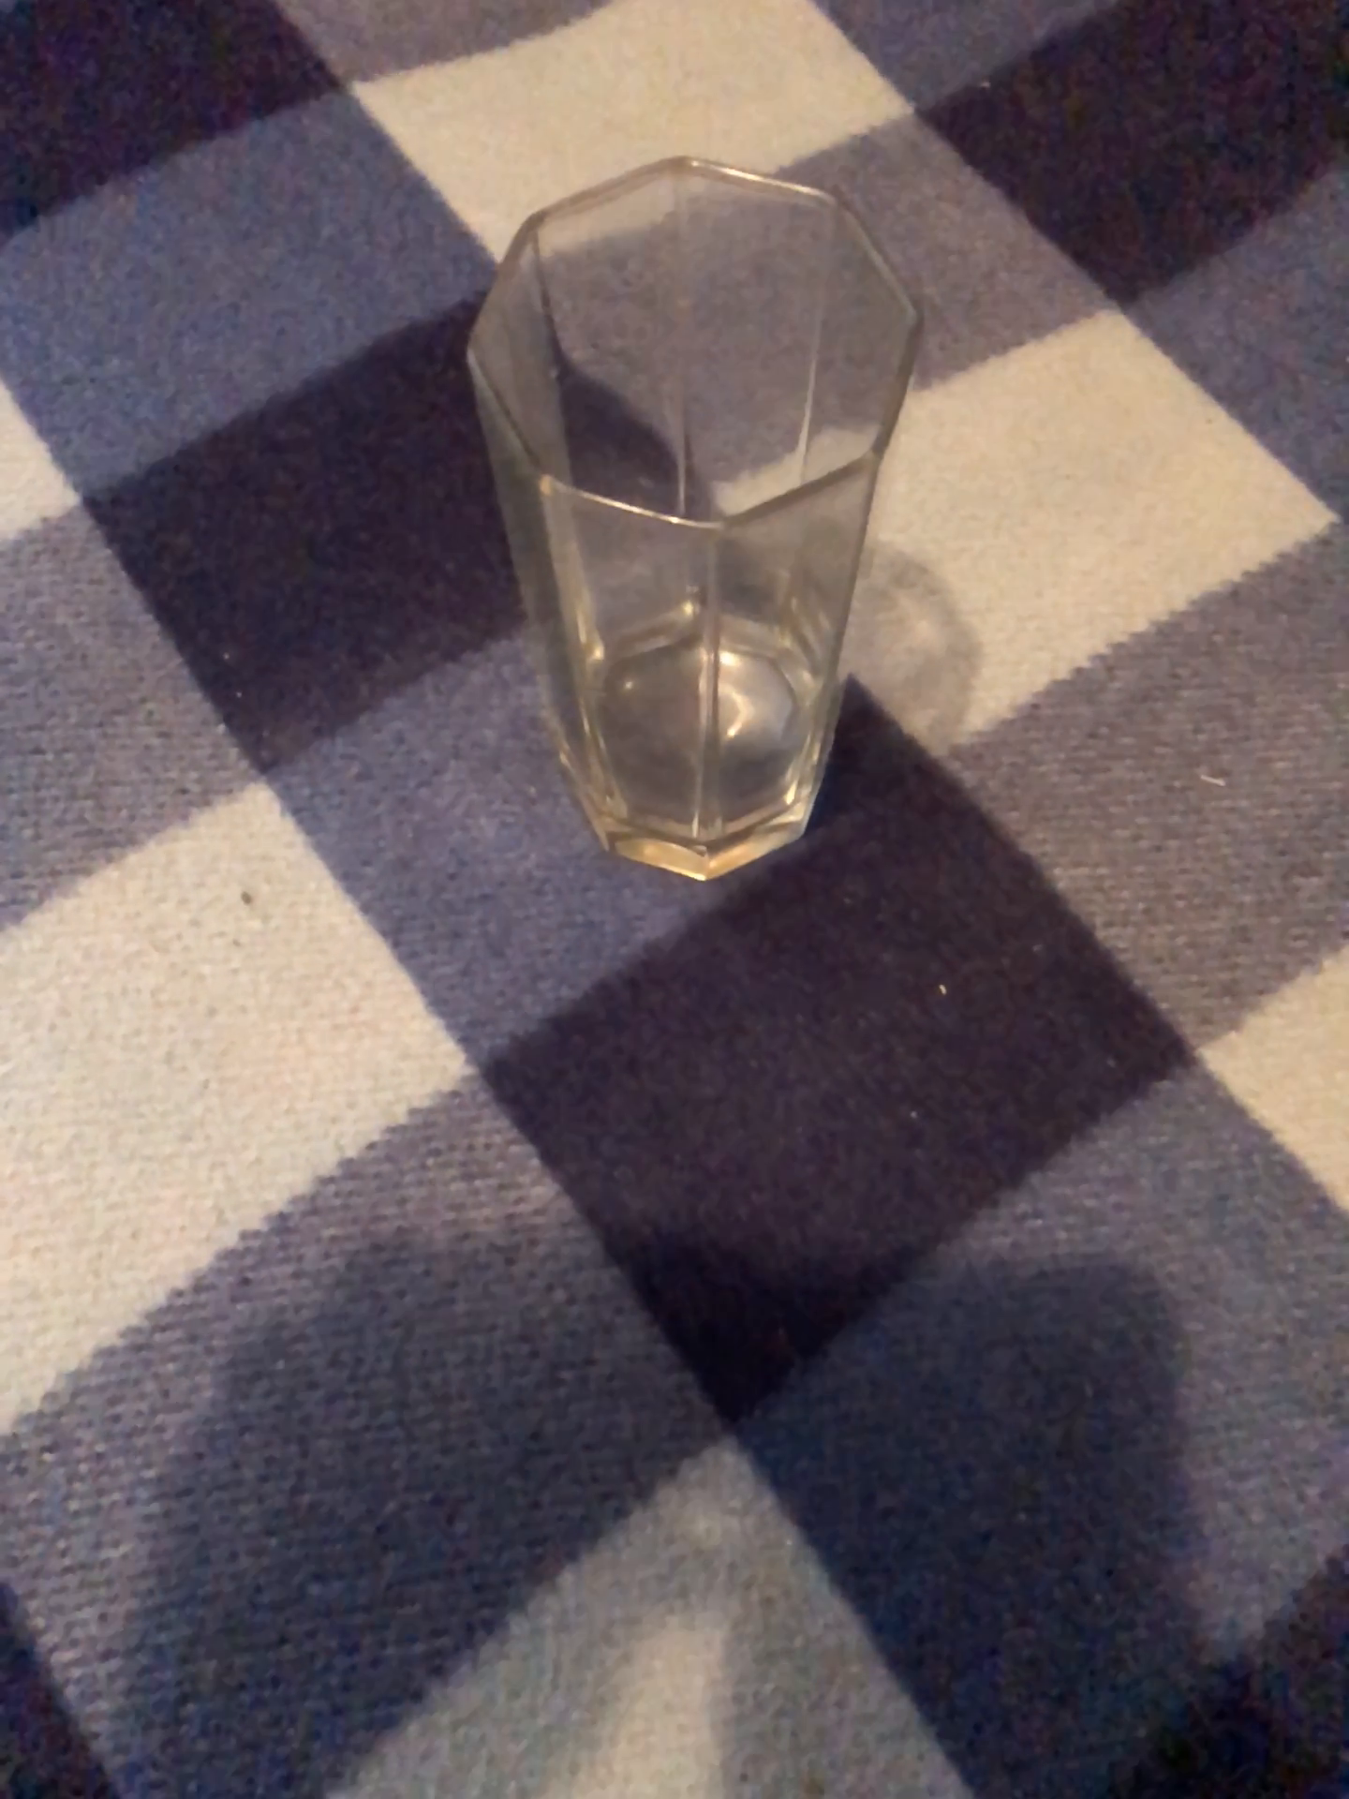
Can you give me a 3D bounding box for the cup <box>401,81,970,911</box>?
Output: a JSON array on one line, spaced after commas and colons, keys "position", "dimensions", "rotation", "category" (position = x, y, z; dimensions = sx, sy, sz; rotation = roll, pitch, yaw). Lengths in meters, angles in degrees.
[{"position": [0.003, -0.066, 0.290], "dimensions": [0.077, 0.137, 0.082], "rotation": [0, 68, -1], "category": "cup"}]
